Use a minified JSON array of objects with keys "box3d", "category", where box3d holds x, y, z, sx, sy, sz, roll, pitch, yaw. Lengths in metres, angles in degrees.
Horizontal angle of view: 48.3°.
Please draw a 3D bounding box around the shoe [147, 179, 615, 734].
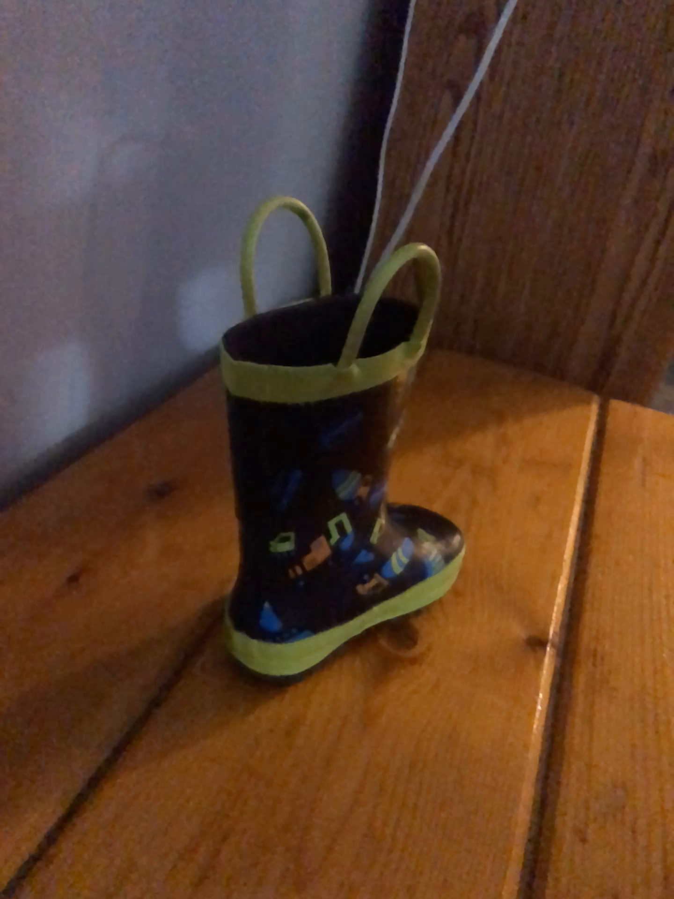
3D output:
[{"box3d":[0.015,-0.008,0.338,0.170,0.199,0.080,-19,42,-42],"category":"shoe"}]
